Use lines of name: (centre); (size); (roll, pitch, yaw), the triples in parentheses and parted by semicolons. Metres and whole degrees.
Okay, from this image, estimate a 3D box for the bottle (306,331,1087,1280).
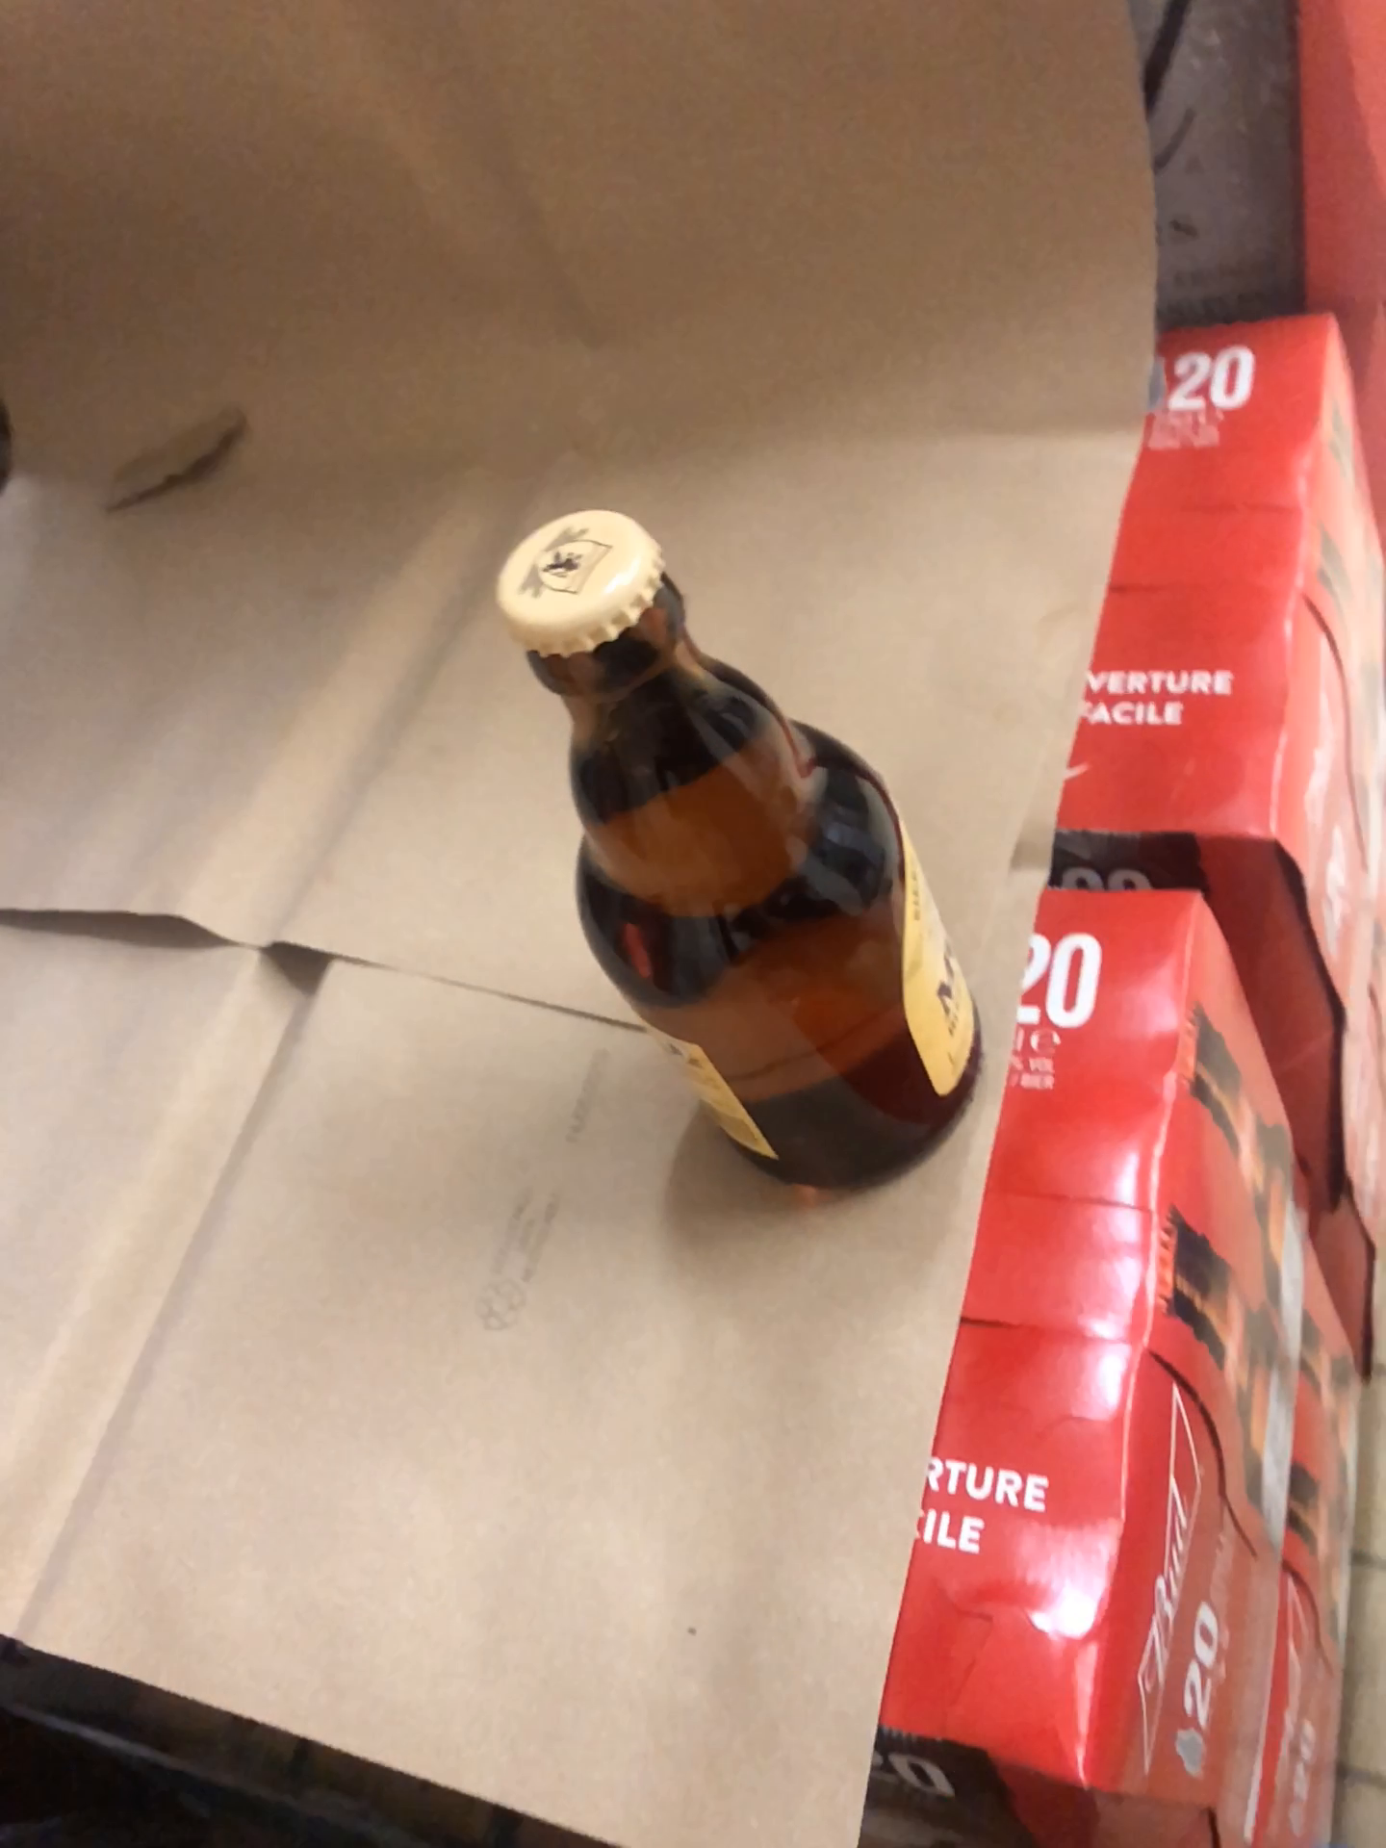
bottle: (0.011, -0.010, 0.304); (0.080, 0.166, 0.080); (-11, 55, 16)
